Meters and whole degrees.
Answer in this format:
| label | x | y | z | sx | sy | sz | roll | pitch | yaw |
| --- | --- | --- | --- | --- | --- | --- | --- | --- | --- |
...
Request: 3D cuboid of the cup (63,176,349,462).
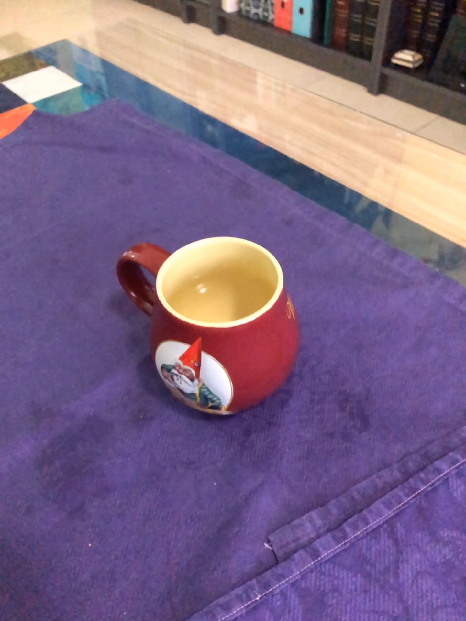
| label | x | y | z | sx | sy | sz | roll | pitch | yaw |
| --- | --- | --- | --- | --- | --- | --- | --- | --- | --- |
| cup | -0.013 | 0.000 | 0.293 | 0.120 | 0.090 | 0.080 | 29 | 55 | 27 |
